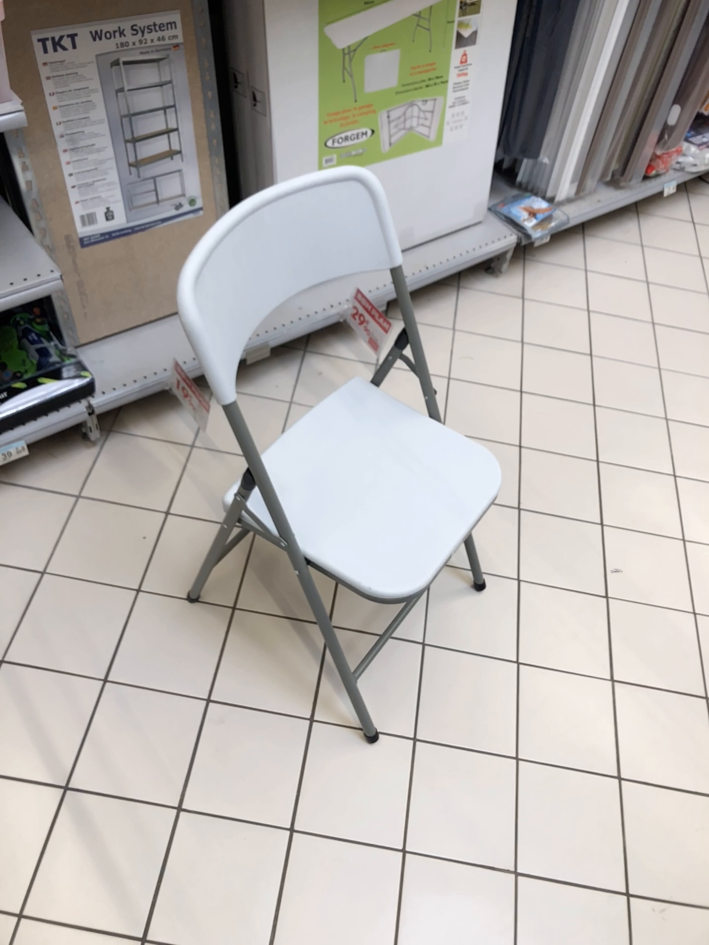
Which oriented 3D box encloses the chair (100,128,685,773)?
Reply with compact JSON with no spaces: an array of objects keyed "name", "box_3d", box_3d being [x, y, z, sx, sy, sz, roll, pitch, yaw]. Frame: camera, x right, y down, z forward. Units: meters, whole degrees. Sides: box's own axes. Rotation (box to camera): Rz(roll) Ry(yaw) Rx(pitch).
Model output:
[{"name":"chair","box_3d":[0.034,-0.013,1.298,0.560,0.746,0.543,32,54,17]}]
